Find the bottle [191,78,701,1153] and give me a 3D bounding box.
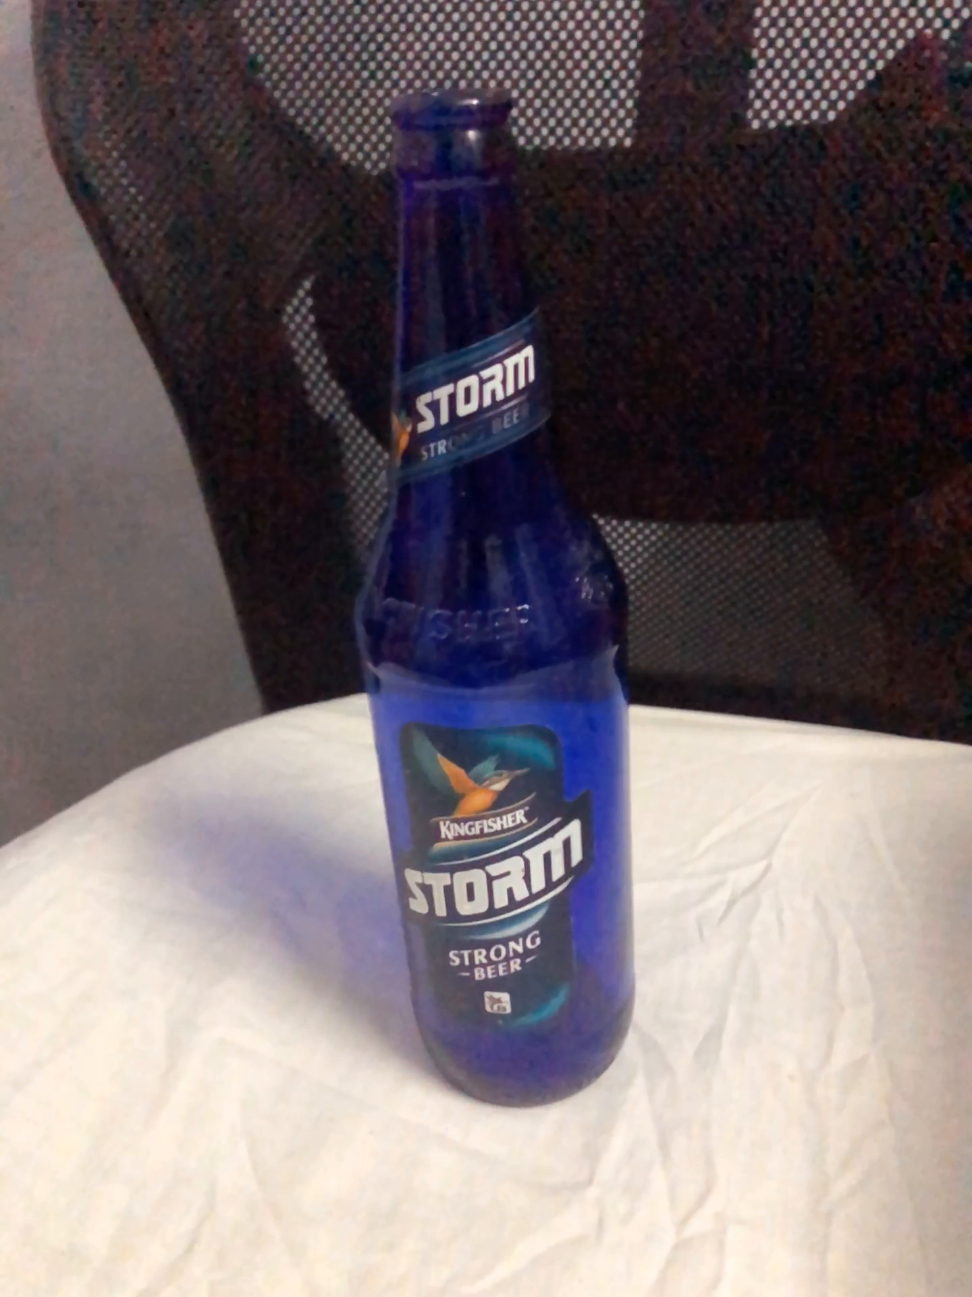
[{"bbox_3d":[0.004,0.008,0.269,0.080,0.259,0.070,4,33,12],"label":"bottle"}]
